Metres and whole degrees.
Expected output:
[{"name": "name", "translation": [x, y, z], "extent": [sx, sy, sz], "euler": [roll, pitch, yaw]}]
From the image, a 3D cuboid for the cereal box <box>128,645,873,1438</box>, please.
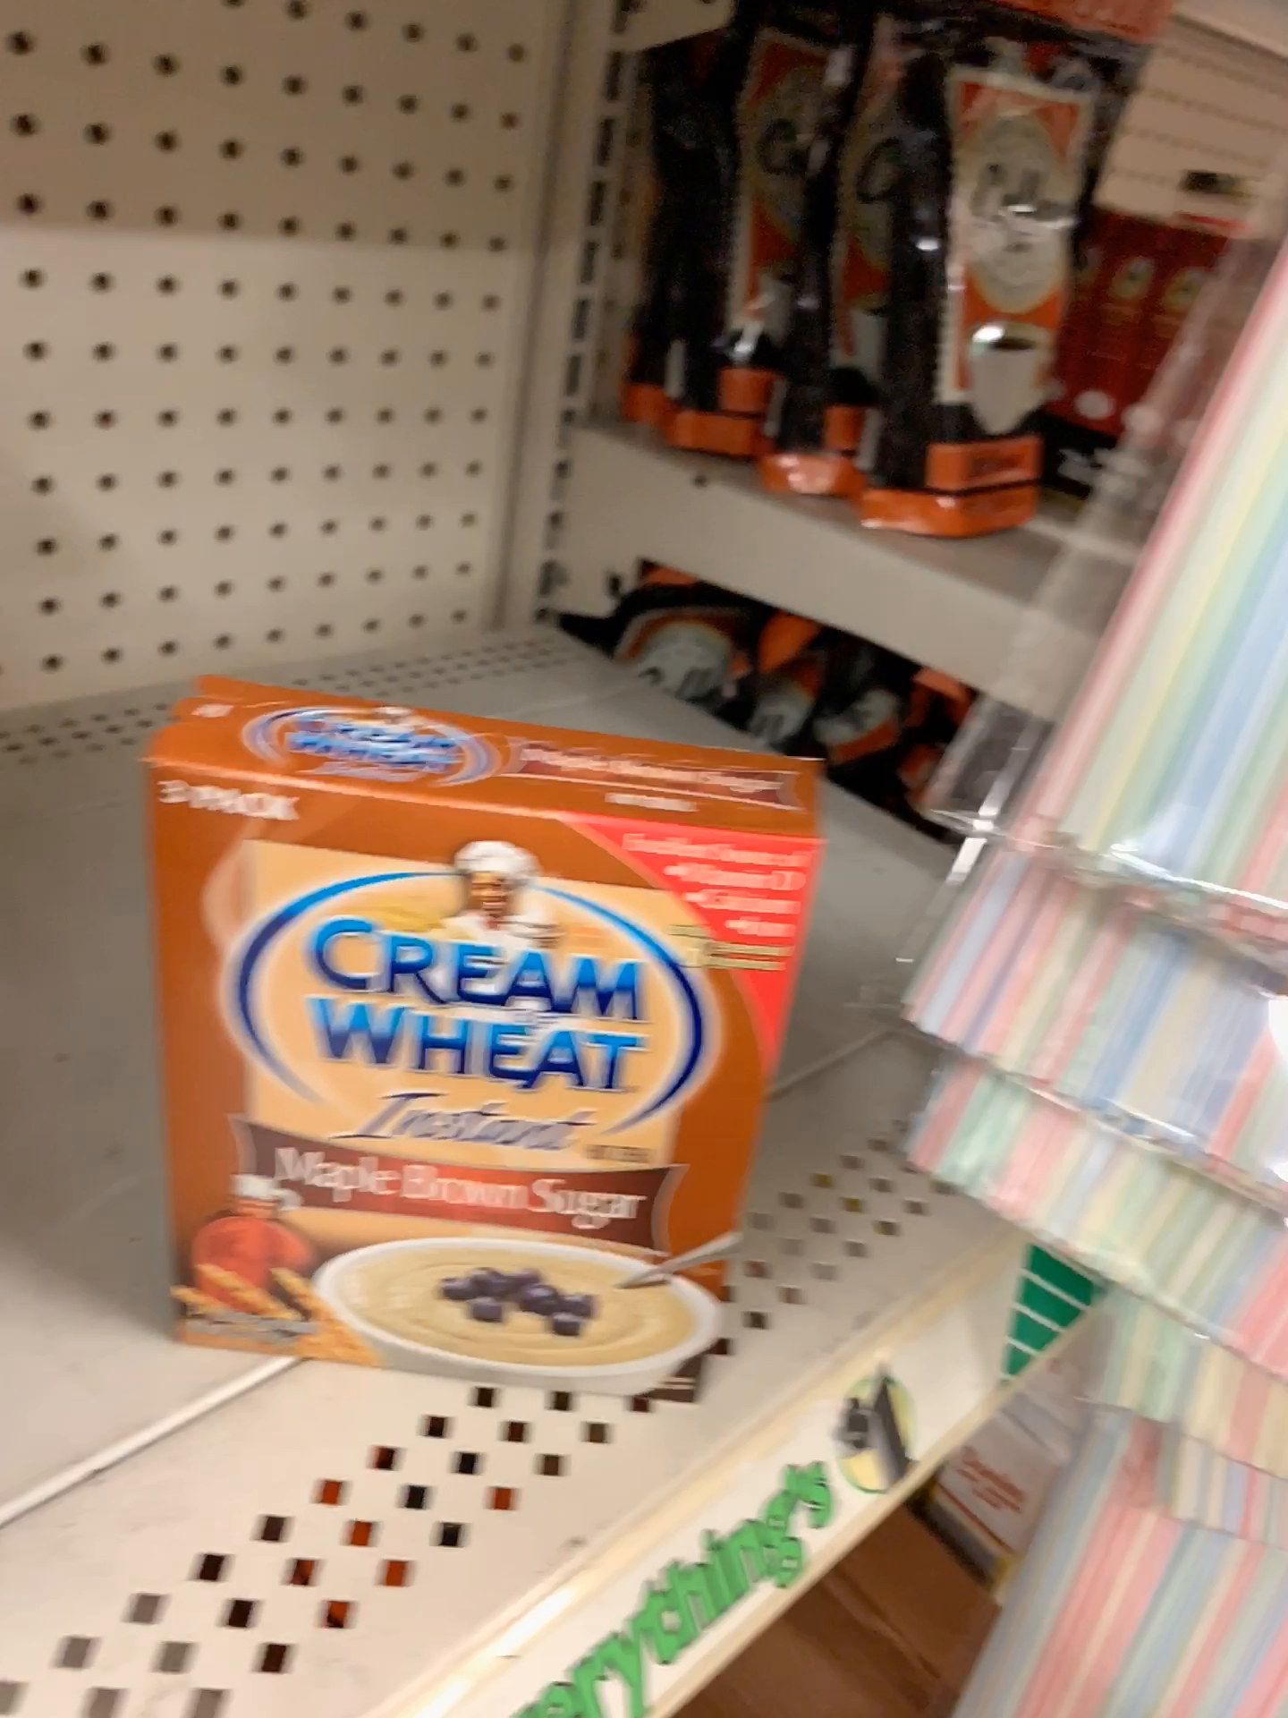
[{"name": "cereal box", "translation": [-0.033, 0.043, 0.270], "extent": [0.120, 0.149, 0.040], "euler": [8, 29, -4]}]
